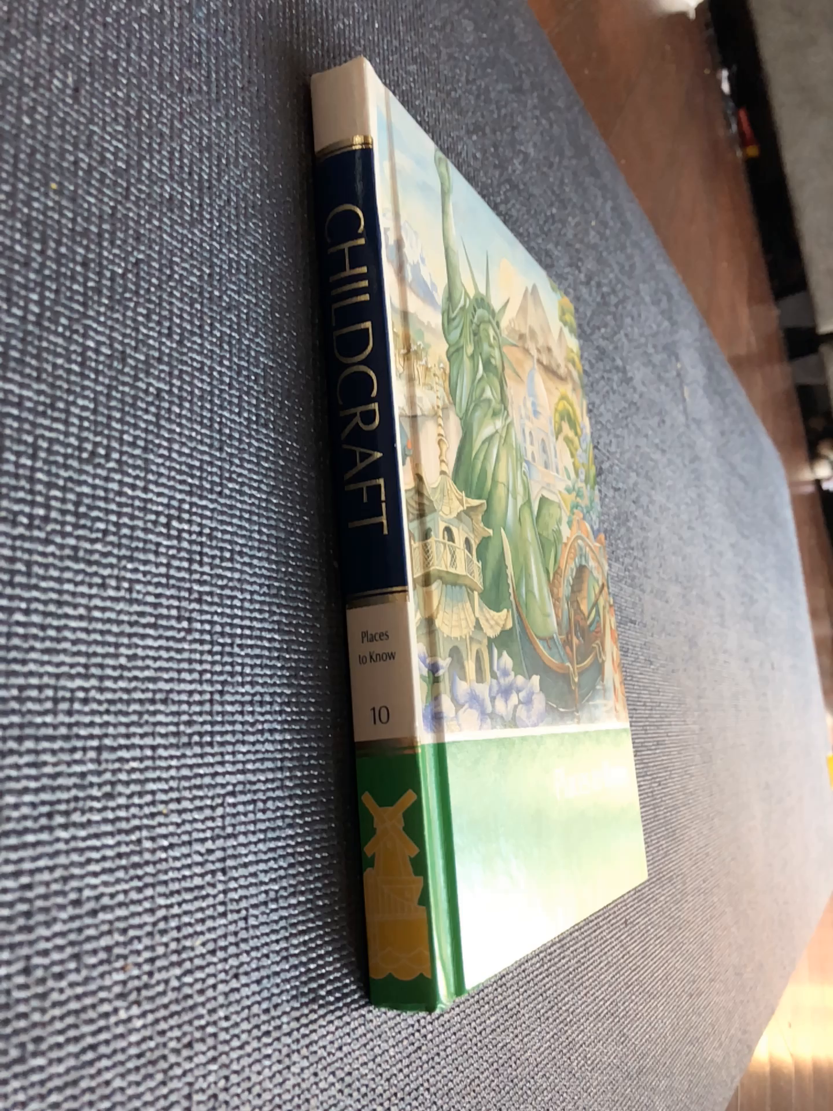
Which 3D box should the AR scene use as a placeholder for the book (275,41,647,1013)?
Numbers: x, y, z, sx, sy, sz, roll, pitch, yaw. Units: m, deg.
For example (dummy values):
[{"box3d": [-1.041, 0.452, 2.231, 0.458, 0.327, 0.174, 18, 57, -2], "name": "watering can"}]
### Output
[{"box3d": [0.026, -0.004, 0.322, 0.191, 0.030, 0.250, 18, 65, -62], "name": "book"}]
